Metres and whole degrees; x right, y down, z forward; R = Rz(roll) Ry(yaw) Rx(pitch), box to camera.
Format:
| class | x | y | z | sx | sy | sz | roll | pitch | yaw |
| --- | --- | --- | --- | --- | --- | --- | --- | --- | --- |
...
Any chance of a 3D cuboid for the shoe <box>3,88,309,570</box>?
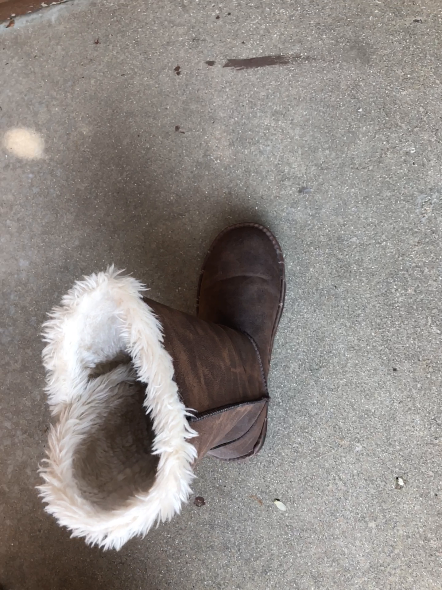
| class | x | y | z | sx | sy | sz | roll | pitch | yaw |
| --- | --- | --- | --- | --- | --- | --- | --- | --- | --- |
| shoe | -0.014 | 0.033 | 0.453 | 0.120 | 0.320 | 0.280 | 2 | 82 | 20 |
